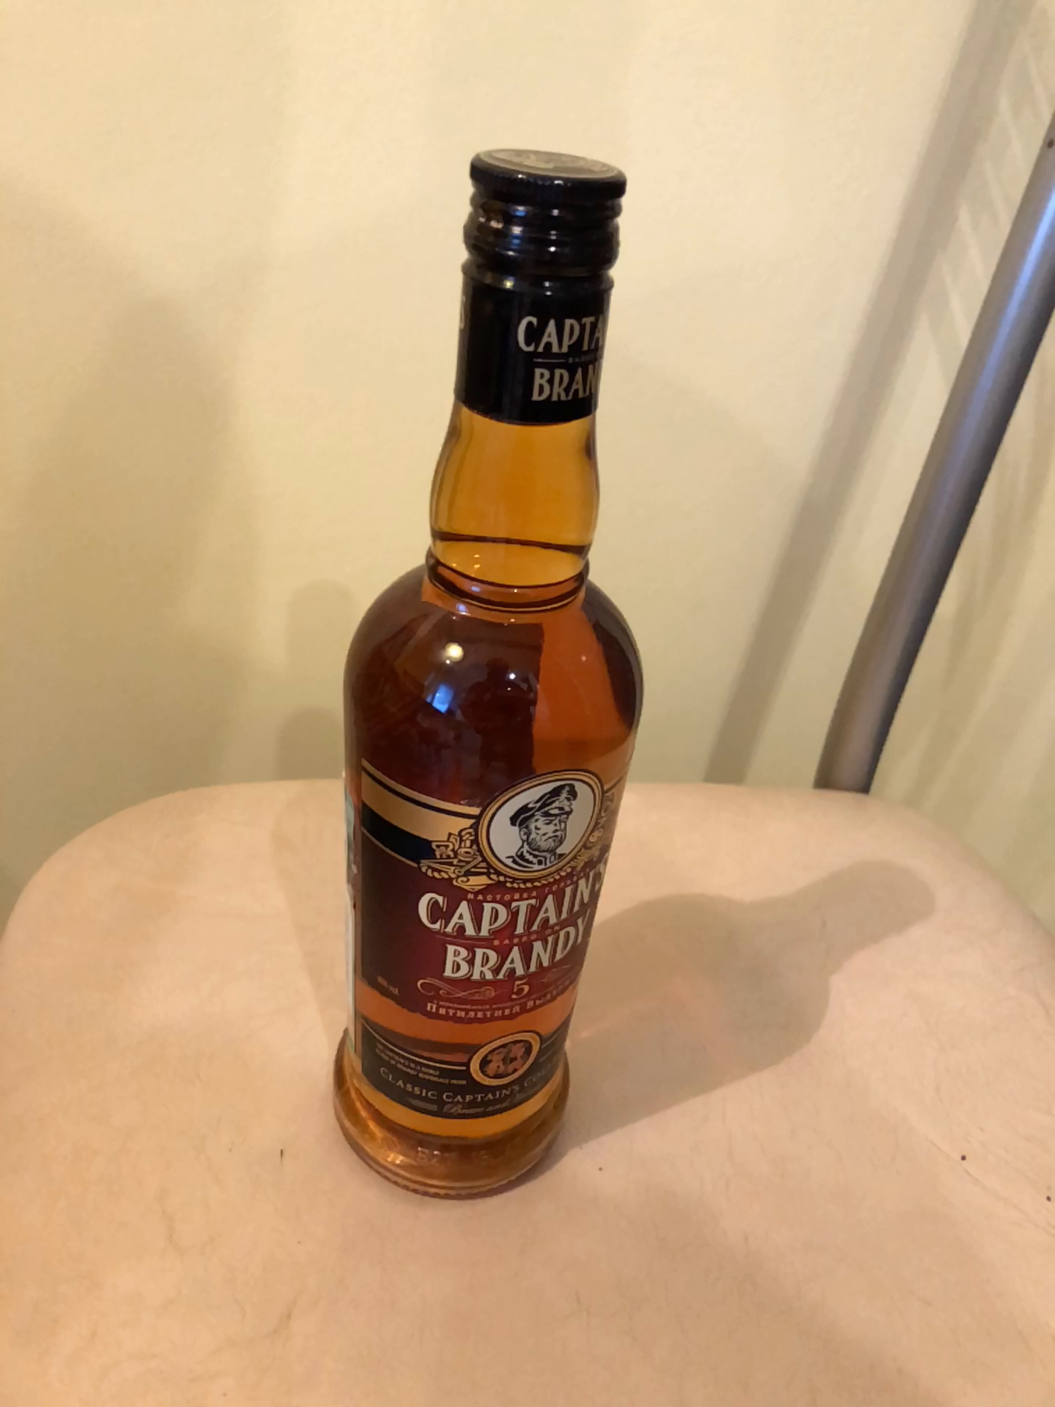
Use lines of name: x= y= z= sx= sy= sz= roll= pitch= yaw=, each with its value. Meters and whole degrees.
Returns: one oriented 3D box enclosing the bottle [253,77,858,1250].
bottle: x=-0.008 y=0.008 z=0.267 sx=0.080 sy=0.258 sz=0.070 roll=-10 pitch=37 yaw=-21
